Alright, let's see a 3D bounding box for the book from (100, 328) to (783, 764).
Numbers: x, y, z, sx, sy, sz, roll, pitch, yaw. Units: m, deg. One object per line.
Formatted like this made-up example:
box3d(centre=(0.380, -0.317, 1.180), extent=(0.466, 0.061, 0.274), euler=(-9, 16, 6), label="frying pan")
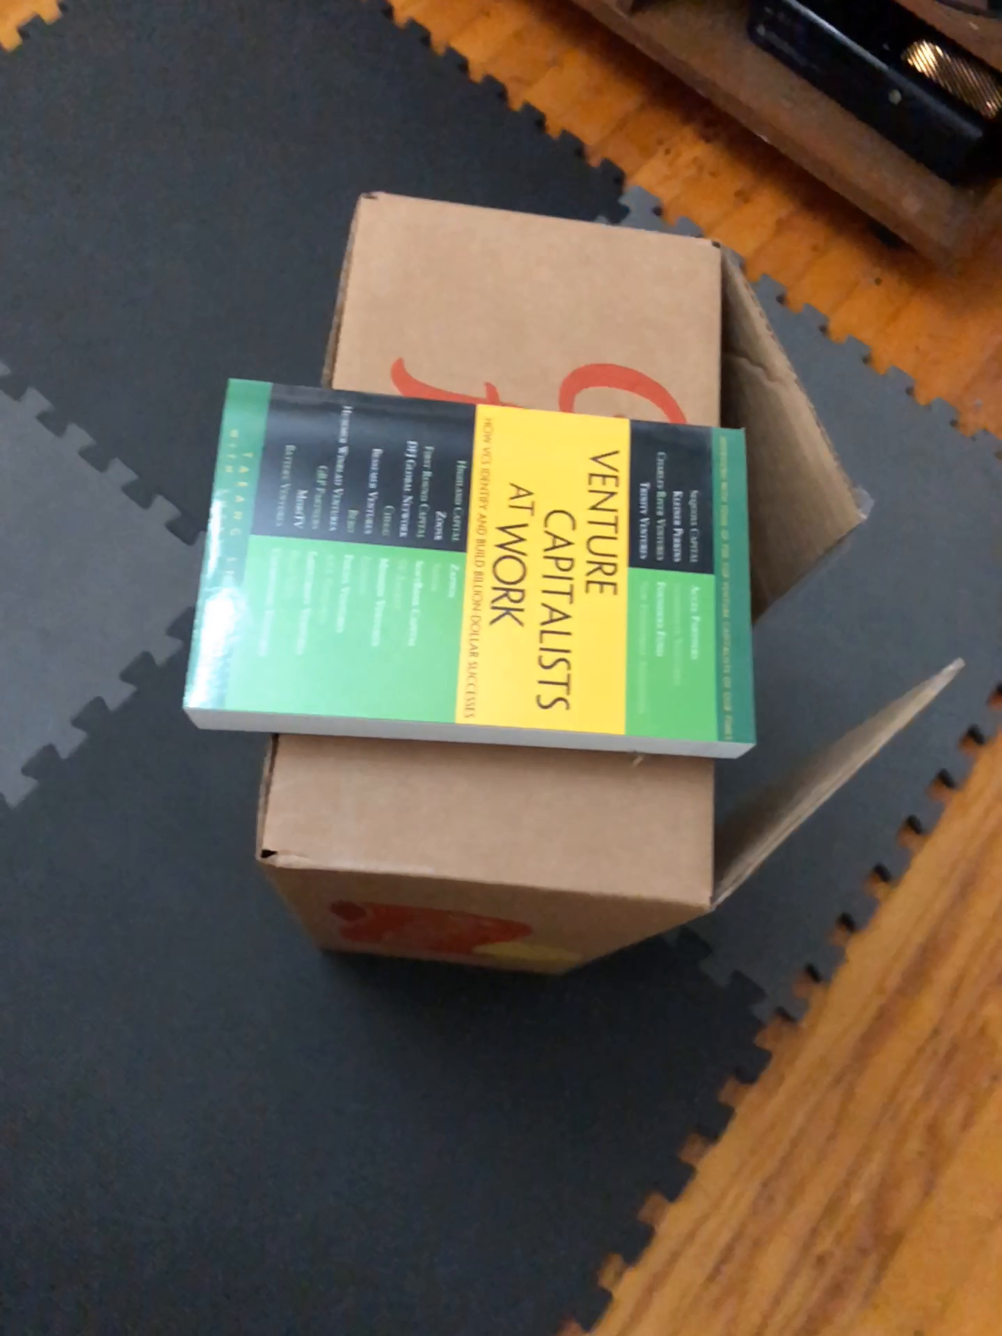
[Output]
box3d(centre=(-0.017, -0.052, 0.468), extent=(0.260, 0.040, 0.160), euler=(5, 69, -3), label="book")
